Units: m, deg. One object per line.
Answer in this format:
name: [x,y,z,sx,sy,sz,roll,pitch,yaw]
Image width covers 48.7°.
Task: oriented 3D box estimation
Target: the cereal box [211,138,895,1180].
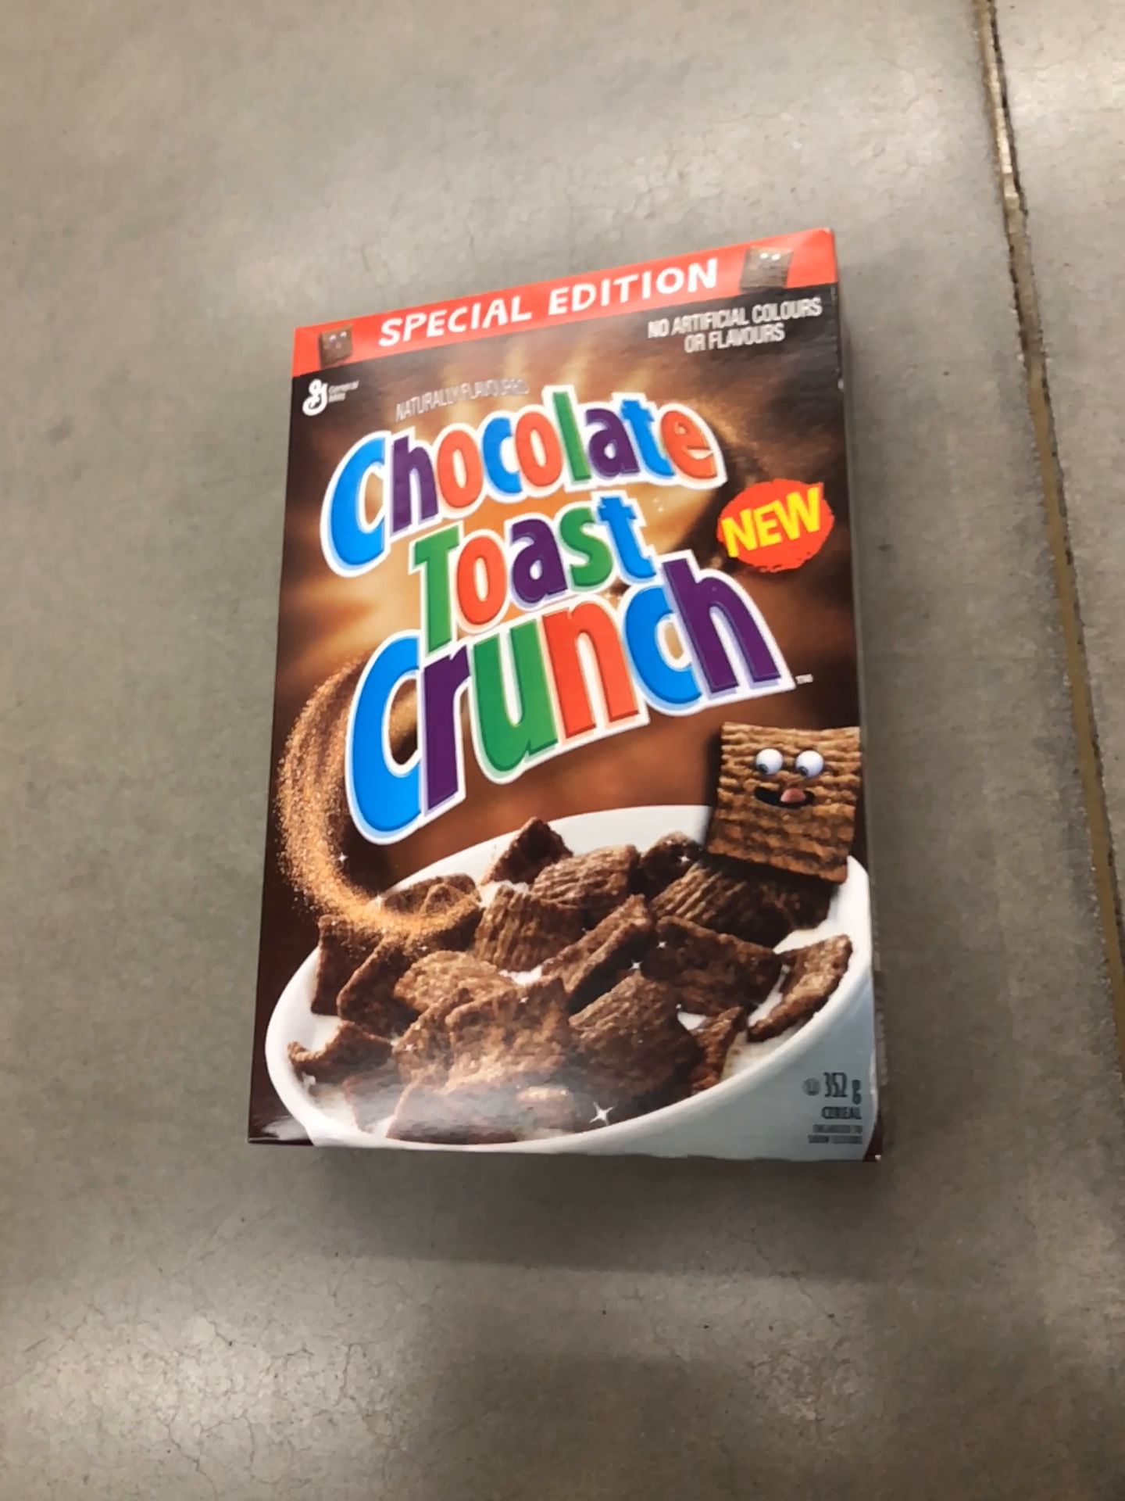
cereal box: [-0.001,-0.027,0.409,0.190,0.070,0.310,-5,74,16]
